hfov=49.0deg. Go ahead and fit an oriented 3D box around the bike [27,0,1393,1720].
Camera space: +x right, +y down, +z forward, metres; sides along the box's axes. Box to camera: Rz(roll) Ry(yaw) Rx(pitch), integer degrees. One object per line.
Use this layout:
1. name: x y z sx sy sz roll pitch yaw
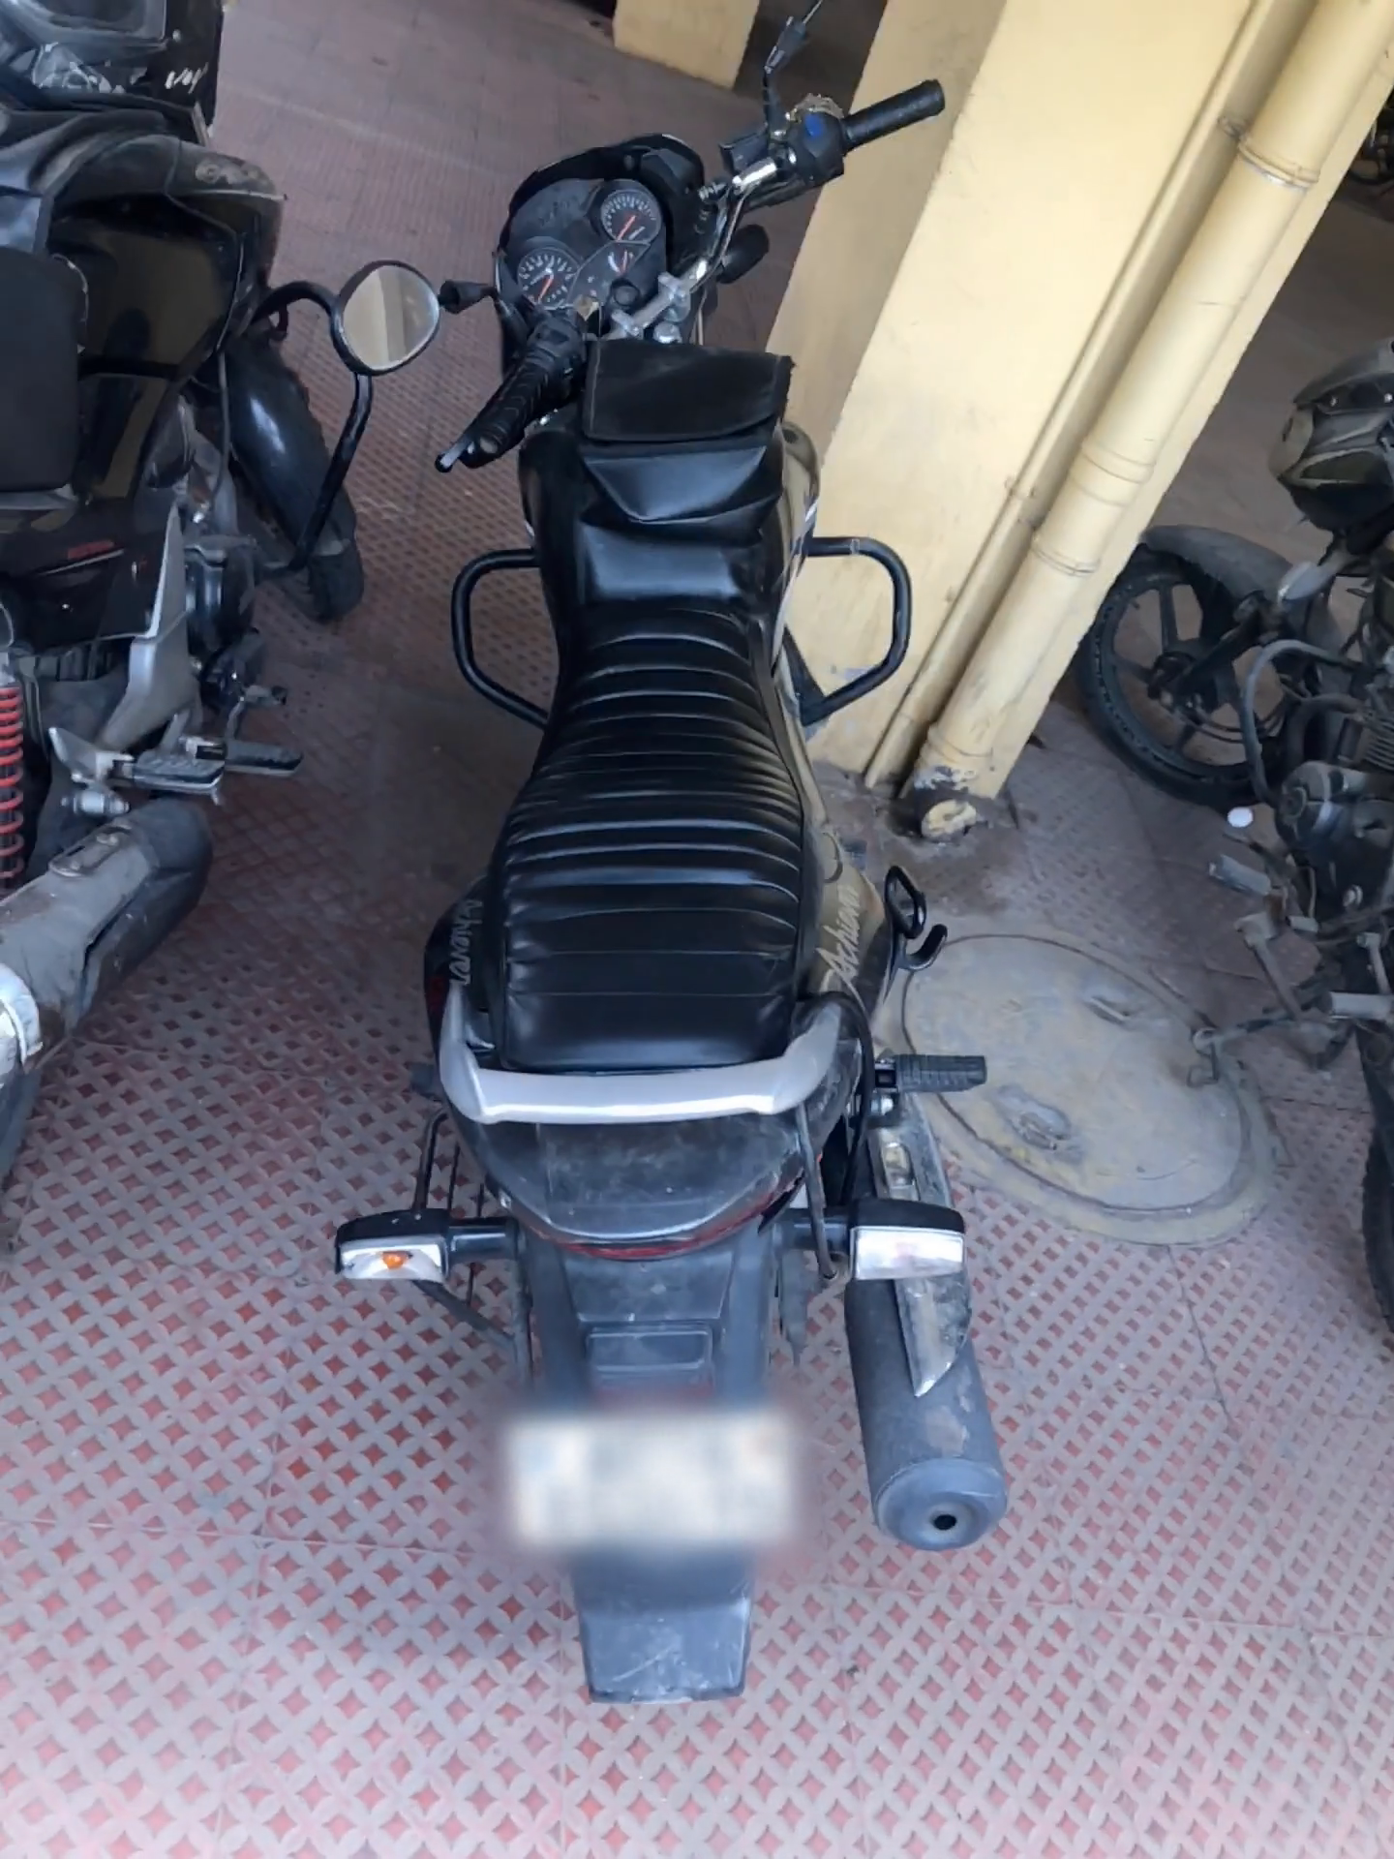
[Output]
1. bike: -0.175 -0.312 1.687 0.731 1.125 1.767 9 40 -18
